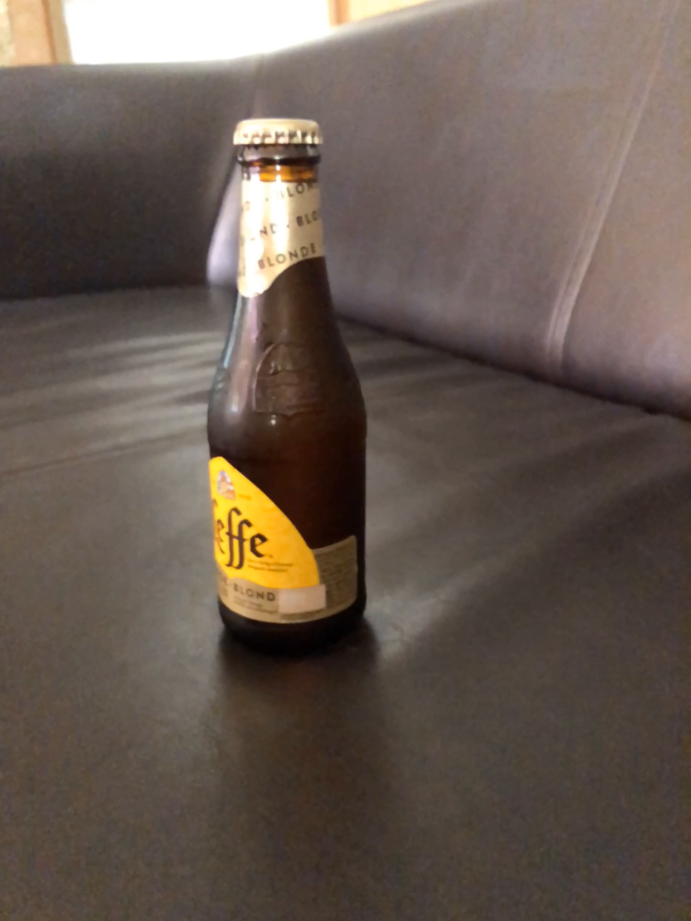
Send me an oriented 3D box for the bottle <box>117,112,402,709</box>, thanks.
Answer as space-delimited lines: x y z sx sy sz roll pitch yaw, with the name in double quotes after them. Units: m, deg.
-0.025 -0.018 0.275 0.060 0.189 0.060 -3 20 1 "bottle"
